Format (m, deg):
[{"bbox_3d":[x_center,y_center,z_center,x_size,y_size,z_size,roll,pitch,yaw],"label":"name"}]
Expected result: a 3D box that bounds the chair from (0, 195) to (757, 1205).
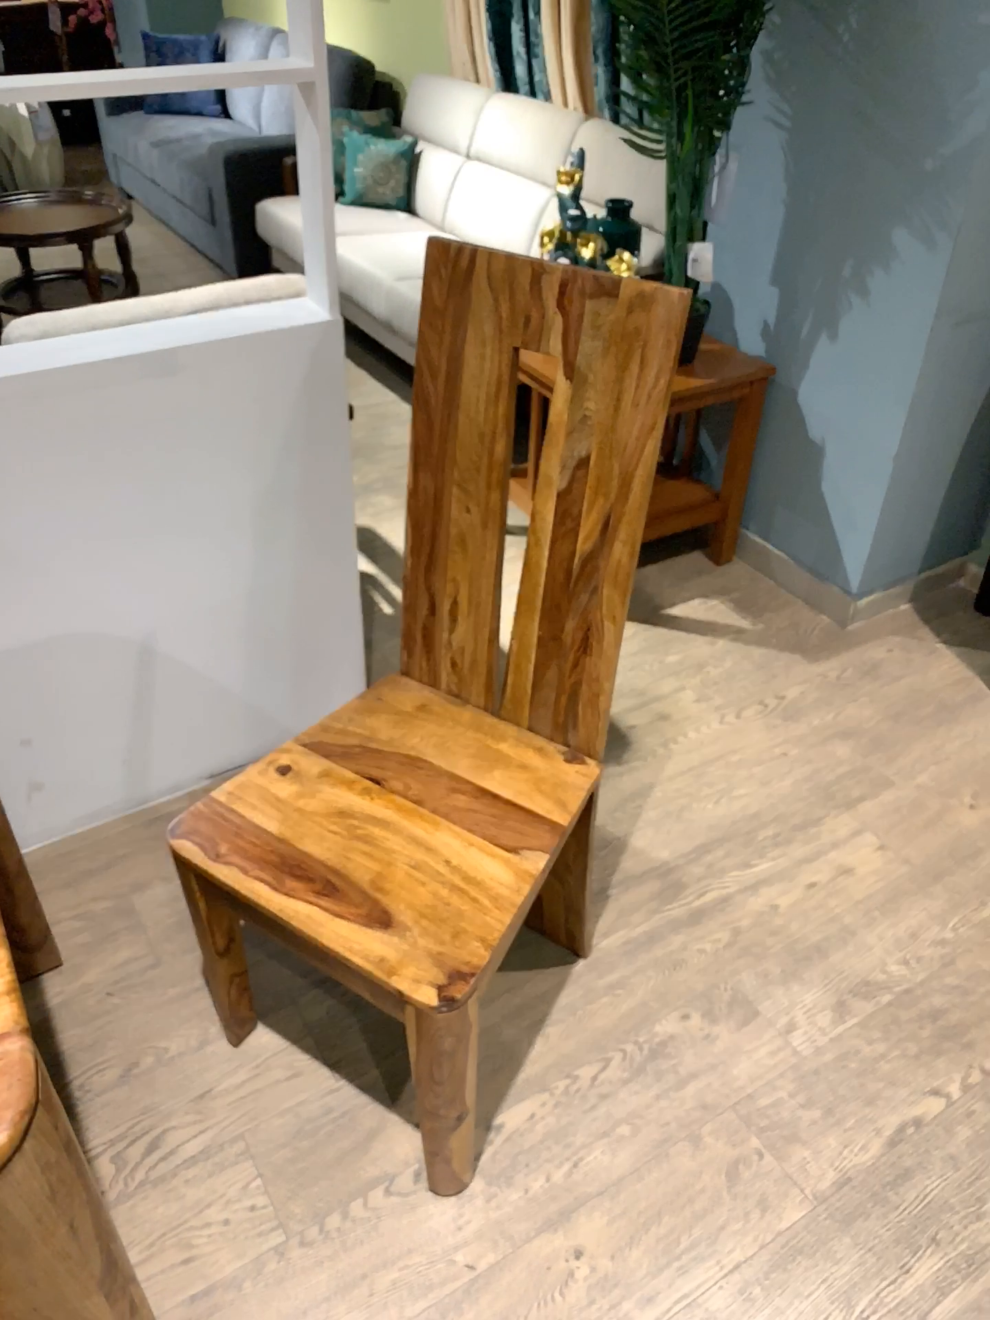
[{"bbox_3d":[-0.104,0.048,1.248,0.501,0.966,0.602,21,42,22],"label":"chair"}]
